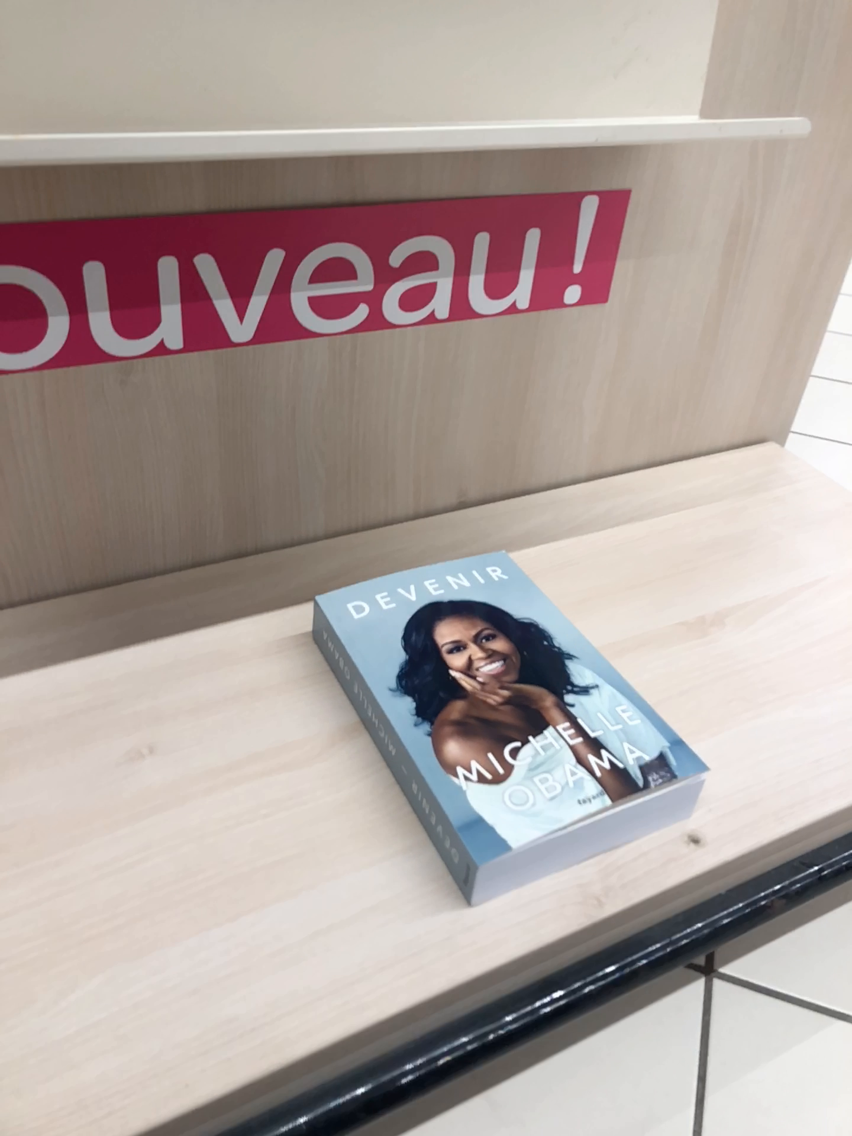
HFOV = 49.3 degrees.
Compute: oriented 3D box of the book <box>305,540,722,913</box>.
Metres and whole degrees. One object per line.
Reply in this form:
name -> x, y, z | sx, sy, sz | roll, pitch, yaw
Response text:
book -> 0.043, 0.080, 0.595 | 0.163, 0.040, 0.241 | -13, 41, -24
